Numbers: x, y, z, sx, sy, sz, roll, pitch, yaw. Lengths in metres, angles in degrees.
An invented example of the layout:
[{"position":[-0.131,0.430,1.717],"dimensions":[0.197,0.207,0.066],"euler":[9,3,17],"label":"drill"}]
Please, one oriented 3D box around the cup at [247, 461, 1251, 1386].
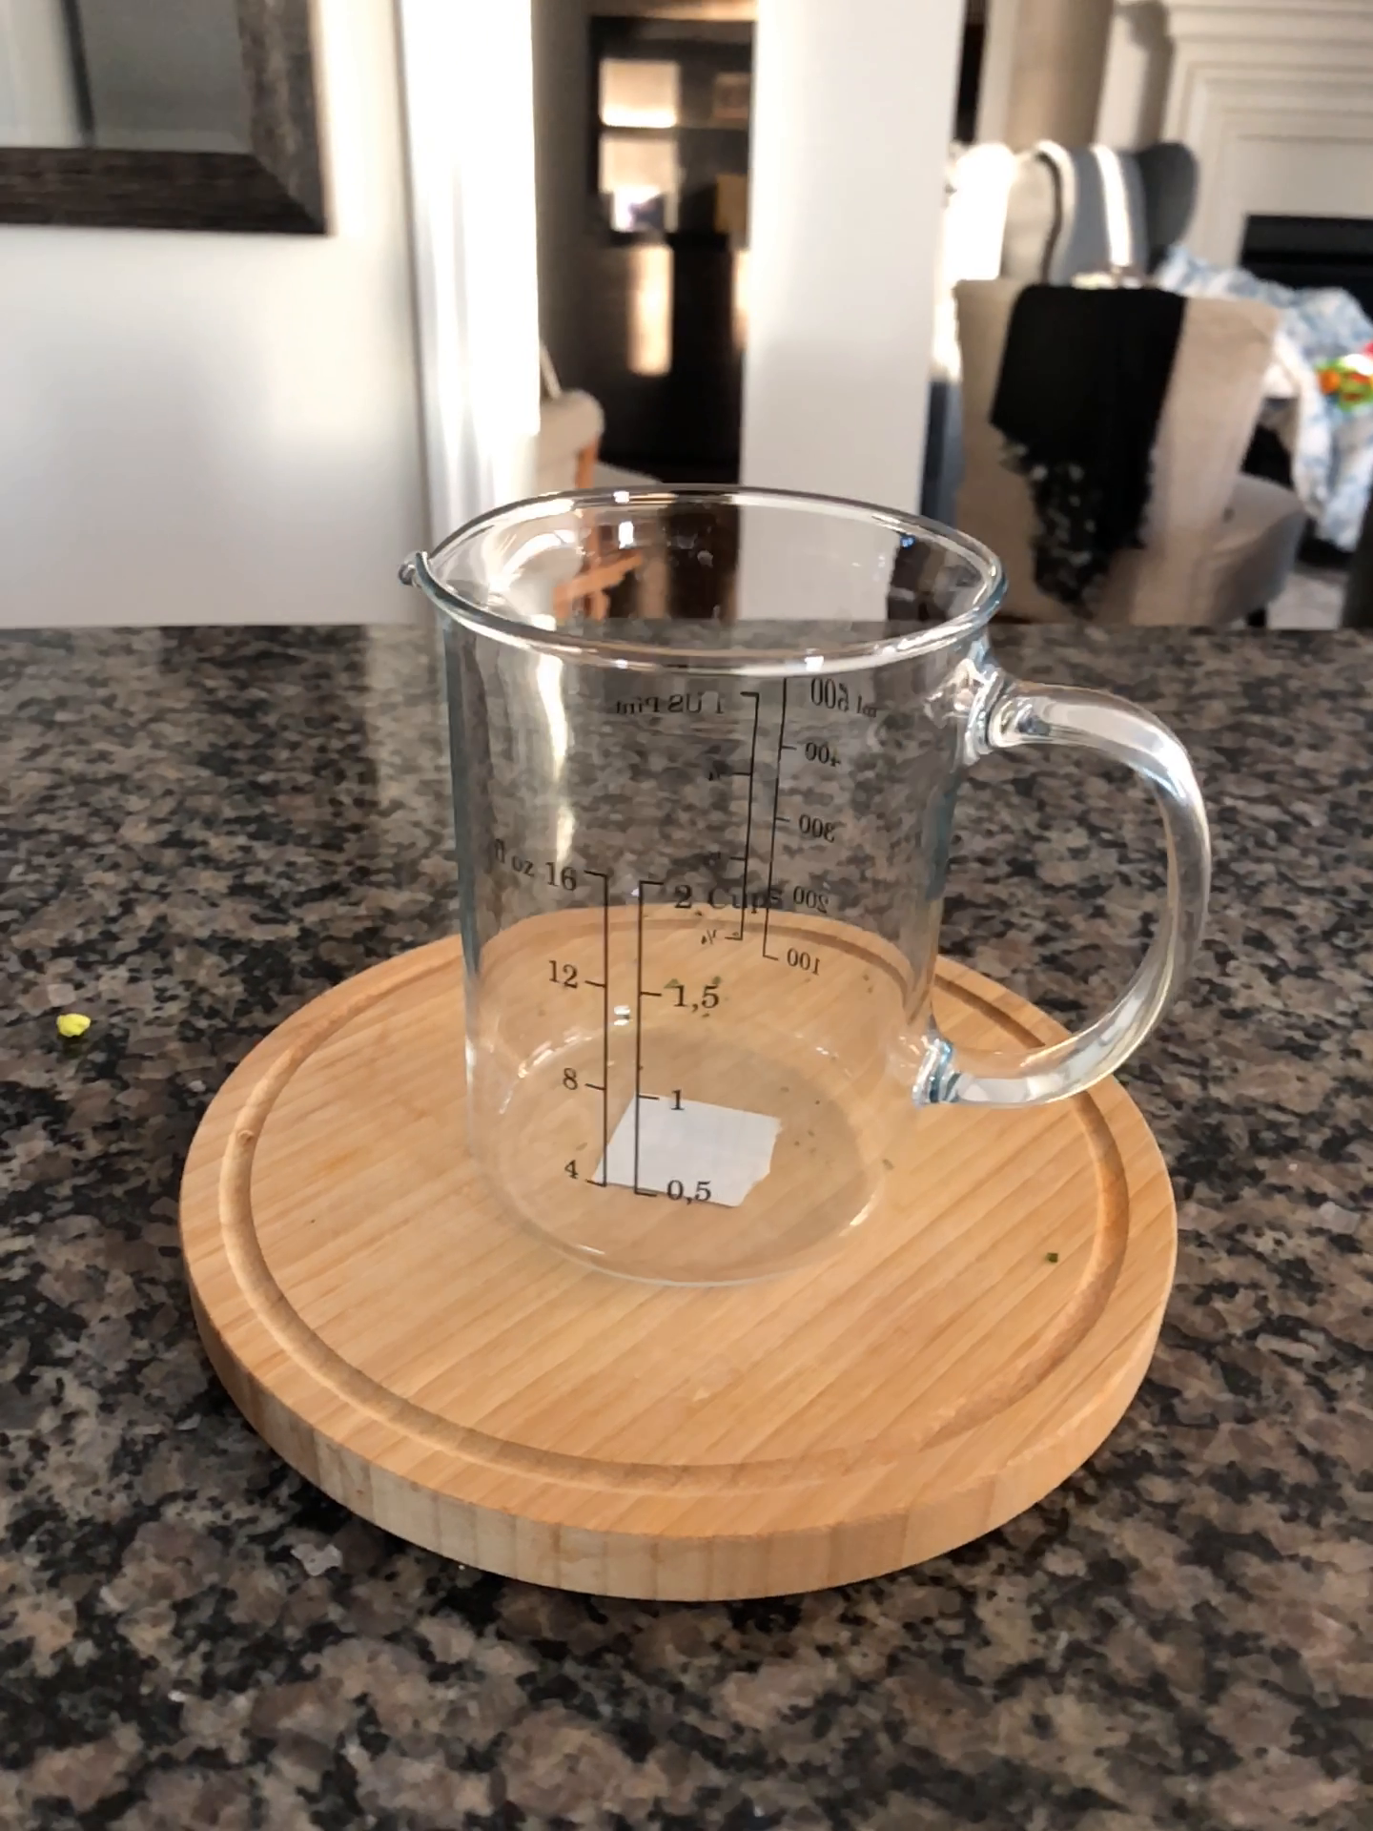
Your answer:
[{"position":[0.015,-0.008,0.300],"dimensions":[0.150,0.128,0.106],"euler":[8,29,12],"label":"cup"}]
